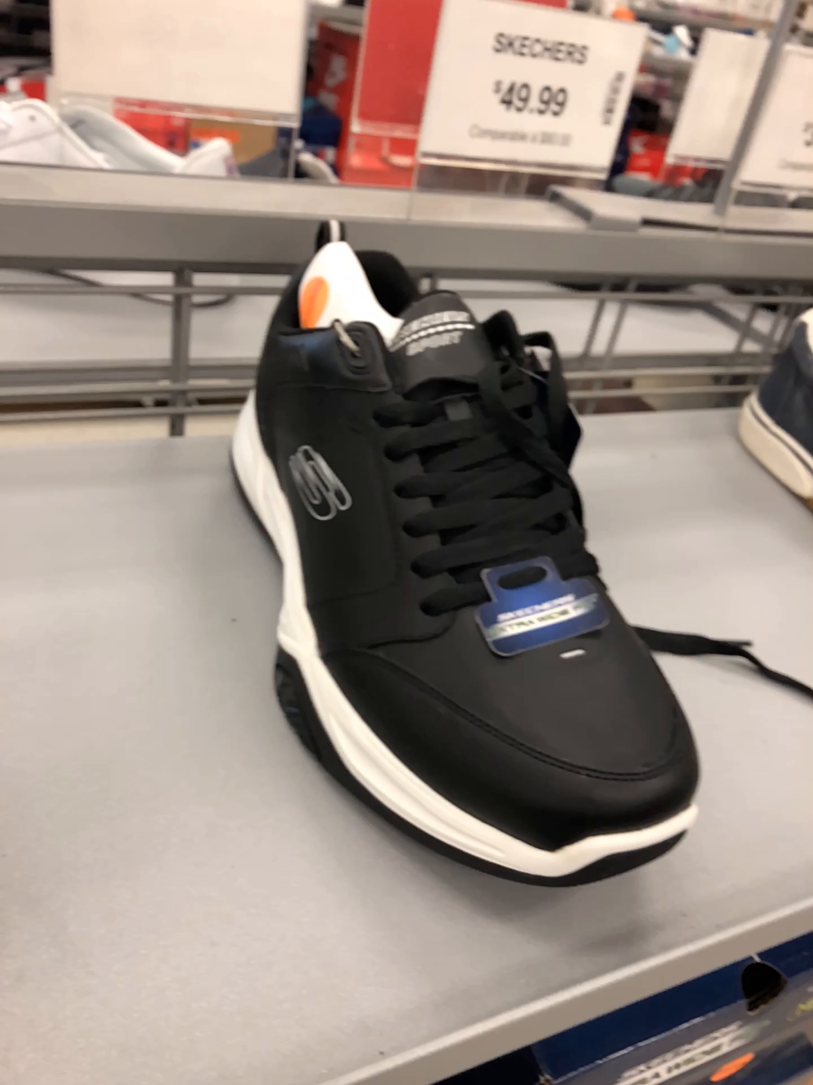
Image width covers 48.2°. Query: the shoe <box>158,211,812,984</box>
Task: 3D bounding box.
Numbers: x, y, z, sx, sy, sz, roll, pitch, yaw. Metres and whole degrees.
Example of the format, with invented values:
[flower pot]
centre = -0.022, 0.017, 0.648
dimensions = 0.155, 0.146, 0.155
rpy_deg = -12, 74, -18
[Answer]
[shoe]
centre = -0.004, -0.025, 0.386
dimensions = 0.130, 0.109, 0.352
rpy_deg = -6, 38, -25
